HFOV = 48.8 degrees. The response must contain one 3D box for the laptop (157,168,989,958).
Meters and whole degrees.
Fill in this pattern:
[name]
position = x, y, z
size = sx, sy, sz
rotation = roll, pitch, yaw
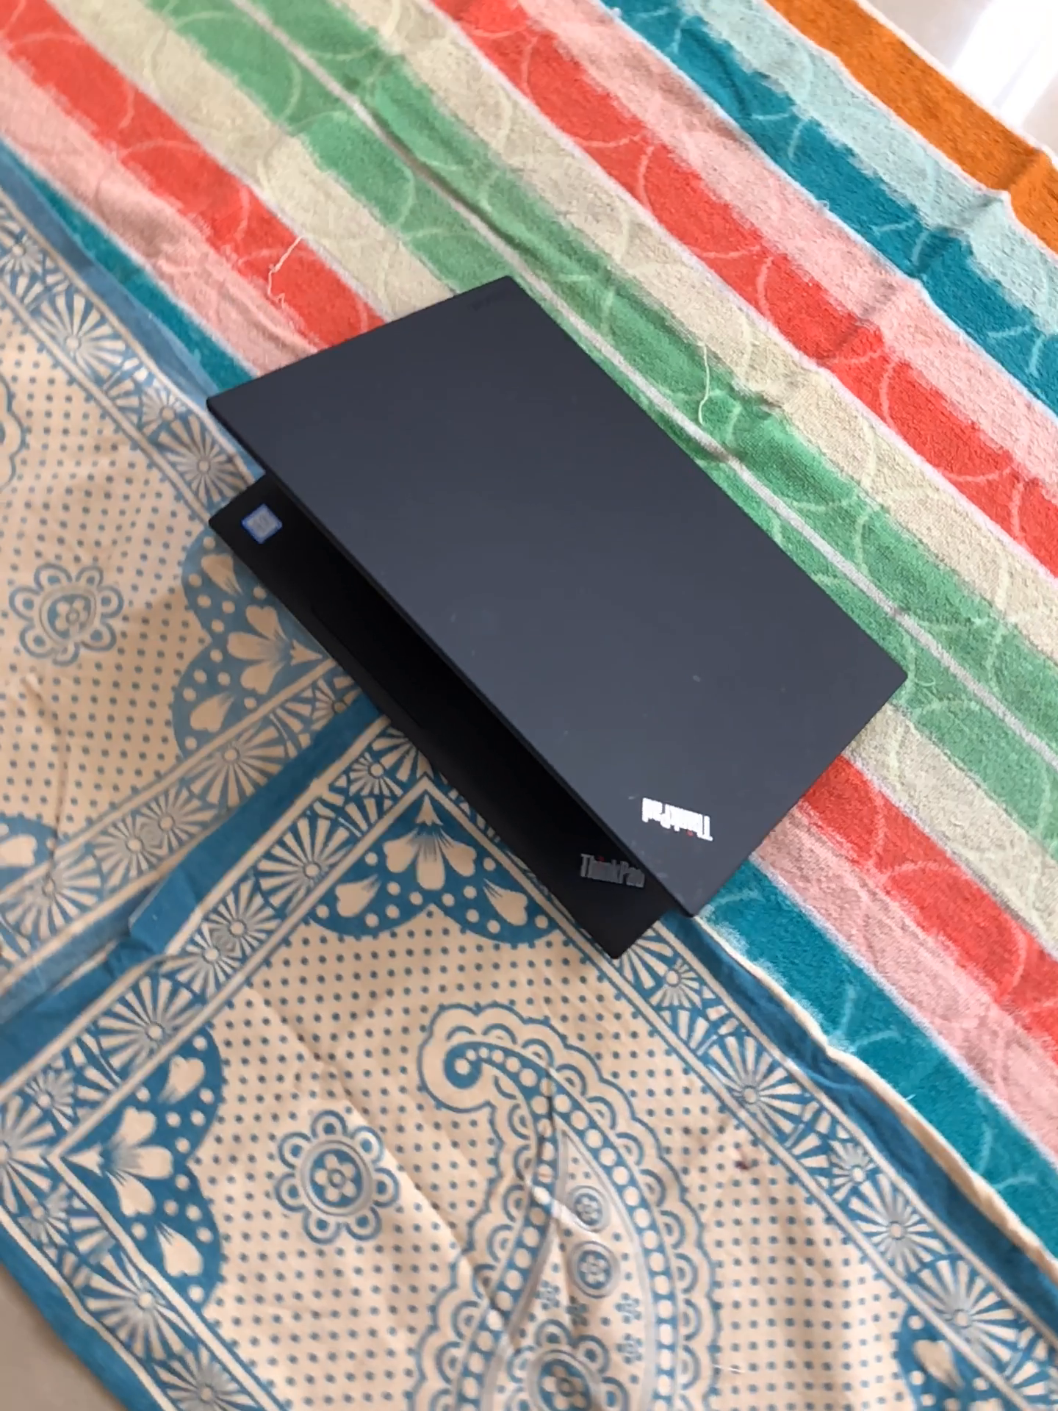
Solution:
[laptop]
position = 0.024, -0.072, 0.642
size = 0.243, 0.122, 0.345
rotation = -42, 85, -12
